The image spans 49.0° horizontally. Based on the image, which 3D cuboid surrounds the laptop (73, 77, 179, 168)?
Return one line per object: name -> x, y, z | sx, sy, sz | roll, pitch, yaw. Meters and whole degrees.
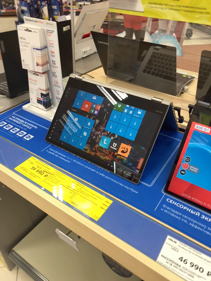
laptop -> 0.071, -0.051, 0.820 | 0.336, 0.150, 0.210 | 22, 10, 28
